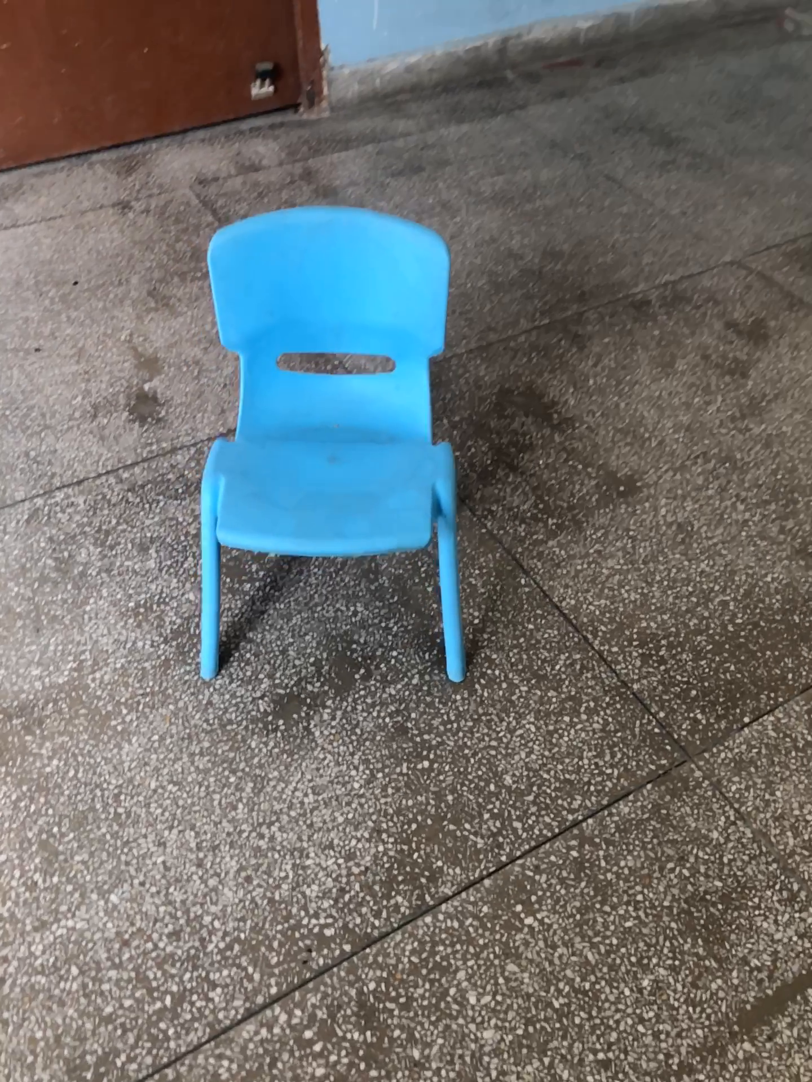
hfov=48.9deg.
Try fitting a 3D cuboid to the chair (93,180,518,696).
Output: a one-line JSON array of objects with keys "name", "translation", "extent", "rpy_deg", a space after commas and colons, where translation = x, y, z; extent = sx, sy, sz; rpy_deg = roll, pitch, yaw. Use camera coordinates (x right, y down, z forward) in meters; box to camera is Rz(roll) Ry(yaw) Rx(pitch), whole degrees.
[{"name": "chair", "translation": [-0.090, -0.114, 1.114], "extent": [0.380, 0.499, 0.391], "rpy_deg": [1, 47, 0]}]
